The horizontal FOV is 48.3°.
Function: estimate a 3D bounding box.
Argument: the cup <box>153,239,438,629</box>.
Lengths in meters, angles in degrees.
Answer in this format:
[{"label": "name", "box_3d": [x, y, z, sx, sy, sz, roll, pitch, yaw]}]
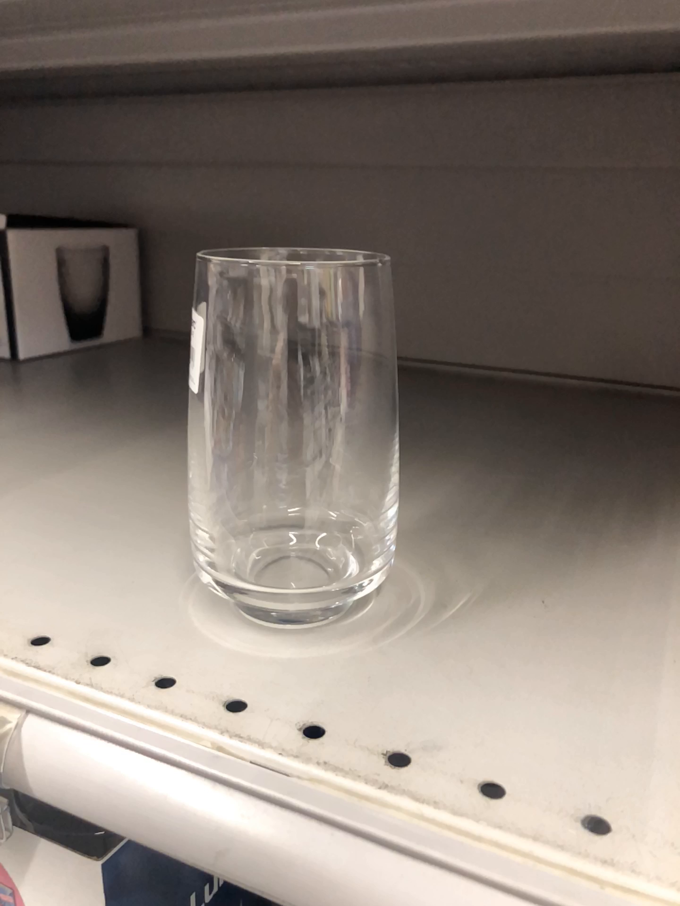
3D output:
[{"label": "cup", "box_3d": [-0.012, -0.012, 0.255, 0.076, 0.112, 0.076, 1, 18, 0]}]
